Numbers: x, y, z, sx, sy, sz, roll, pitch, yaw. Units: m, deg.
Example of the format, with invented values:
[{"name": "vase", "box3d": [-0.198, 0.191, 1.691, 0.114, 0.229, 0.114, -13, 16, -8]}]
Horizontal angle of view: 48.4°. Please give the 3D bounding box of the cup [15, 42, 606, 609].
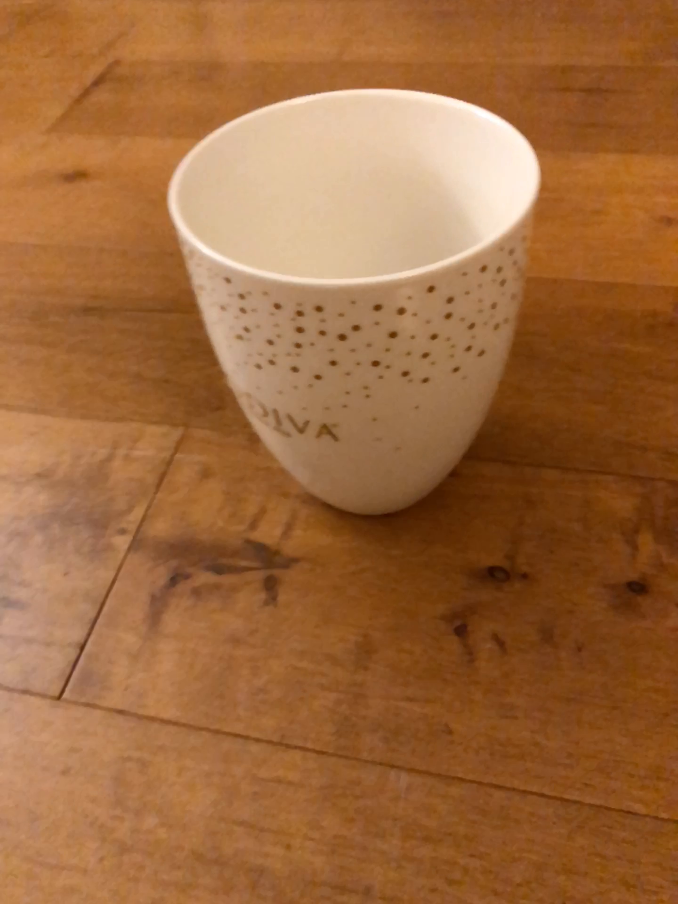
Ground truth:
[{"name": "cup", "box3d": [-0.009, -0.051, 0.264, 0.110, 0.109, 0.141, -38, 55, -24]}]
